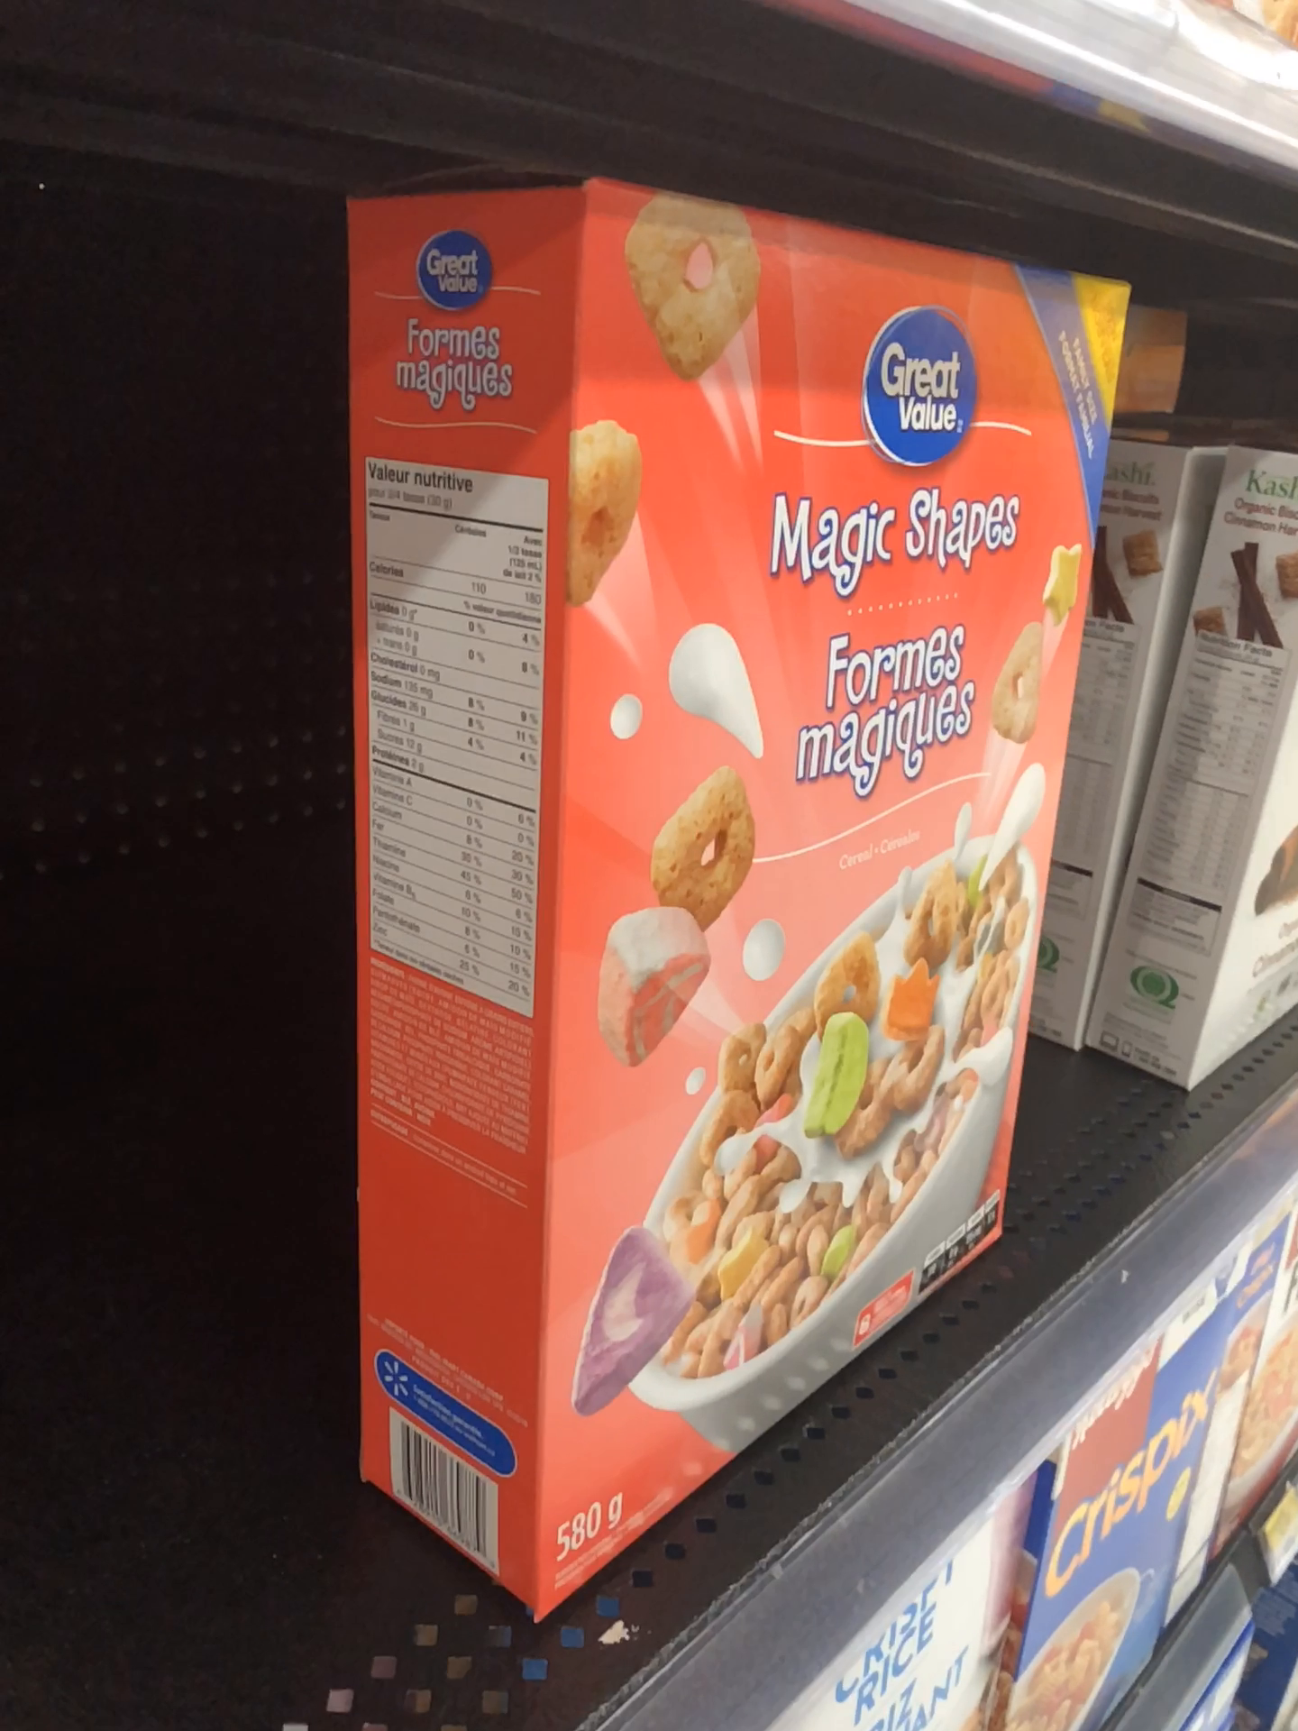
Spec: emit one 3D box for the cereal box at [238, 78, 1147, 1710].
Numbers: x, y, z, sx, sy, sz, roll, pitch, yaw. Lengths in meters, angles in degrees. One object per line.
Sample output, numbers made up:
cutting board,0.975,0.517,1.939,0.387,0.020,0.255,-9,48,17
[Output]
cereal box,0.025,-0.001,0.400,0.080,0.339,0.251,16,22,38
